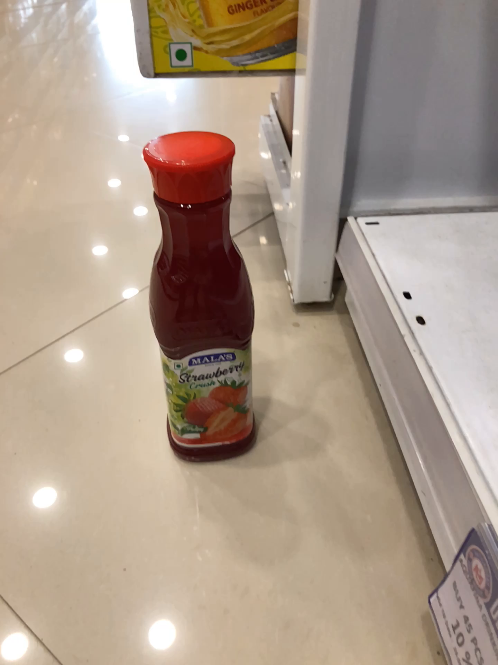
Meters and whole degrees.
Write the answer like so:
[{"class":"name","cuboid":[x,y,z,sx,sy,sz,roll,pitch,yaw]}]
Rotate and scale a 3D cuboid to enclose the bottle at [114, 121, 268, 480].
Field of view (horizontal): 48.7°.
[{"class":"bottle","cuboid":[-0.036,-0.009,0.389,0.080,0.248,0.070,-6,38,-8]}]
